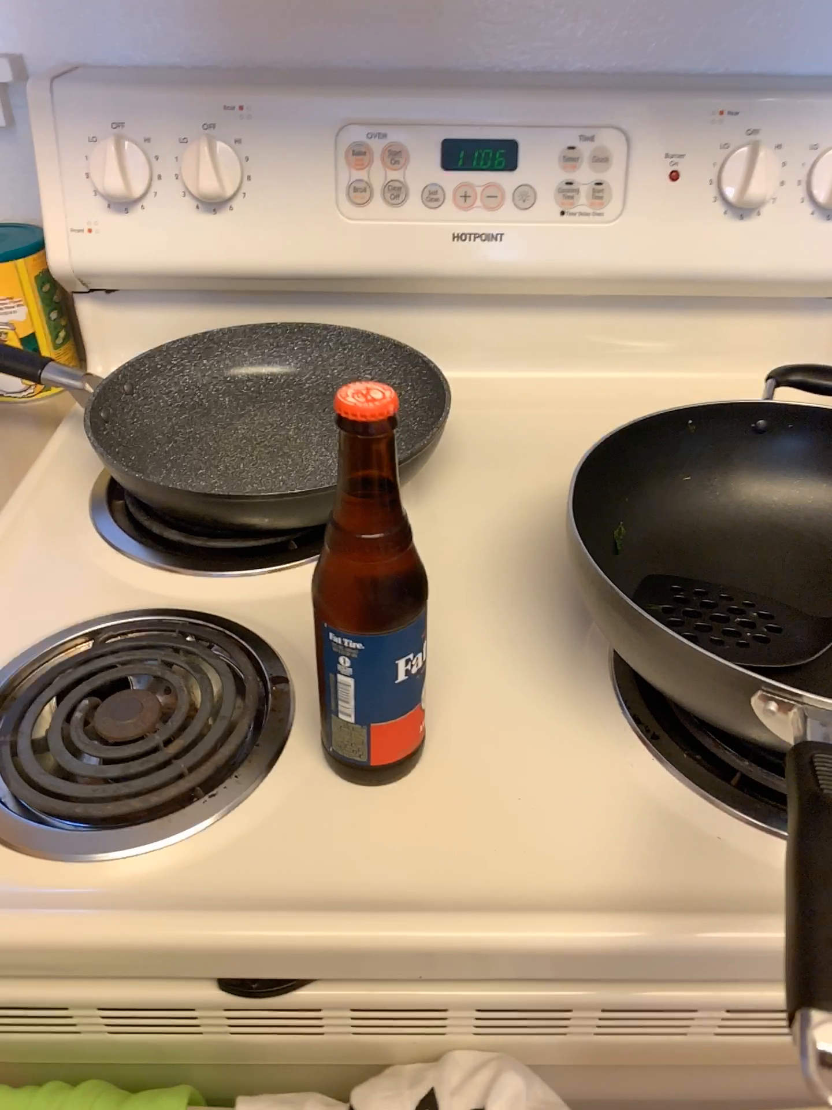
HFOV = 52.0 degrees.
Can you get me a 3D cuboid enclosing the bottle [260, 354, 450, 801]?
[{"bbox_3d":[-0.024,0.020,0.421,0.060,0.219,0.060,0,37,0],"label":"bottle"}]
